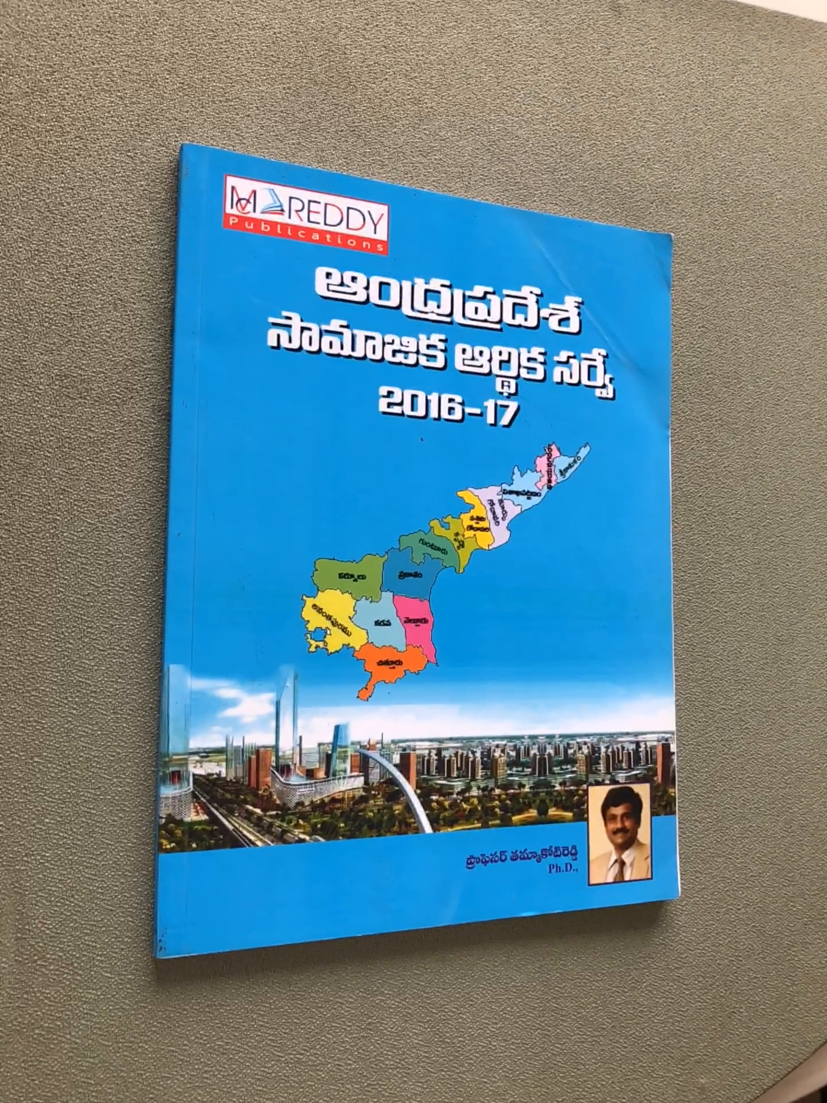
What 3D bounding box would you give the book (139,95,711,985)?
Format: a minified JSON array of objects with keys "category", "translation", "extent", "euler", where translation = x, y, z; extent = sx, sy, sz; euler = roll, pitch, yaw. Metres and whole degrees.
[{"category":"book","translation":[0.013,-0.003,0.289],"extent":[0.180,0.020,0.240],"euler":[3,85,-21]}]
